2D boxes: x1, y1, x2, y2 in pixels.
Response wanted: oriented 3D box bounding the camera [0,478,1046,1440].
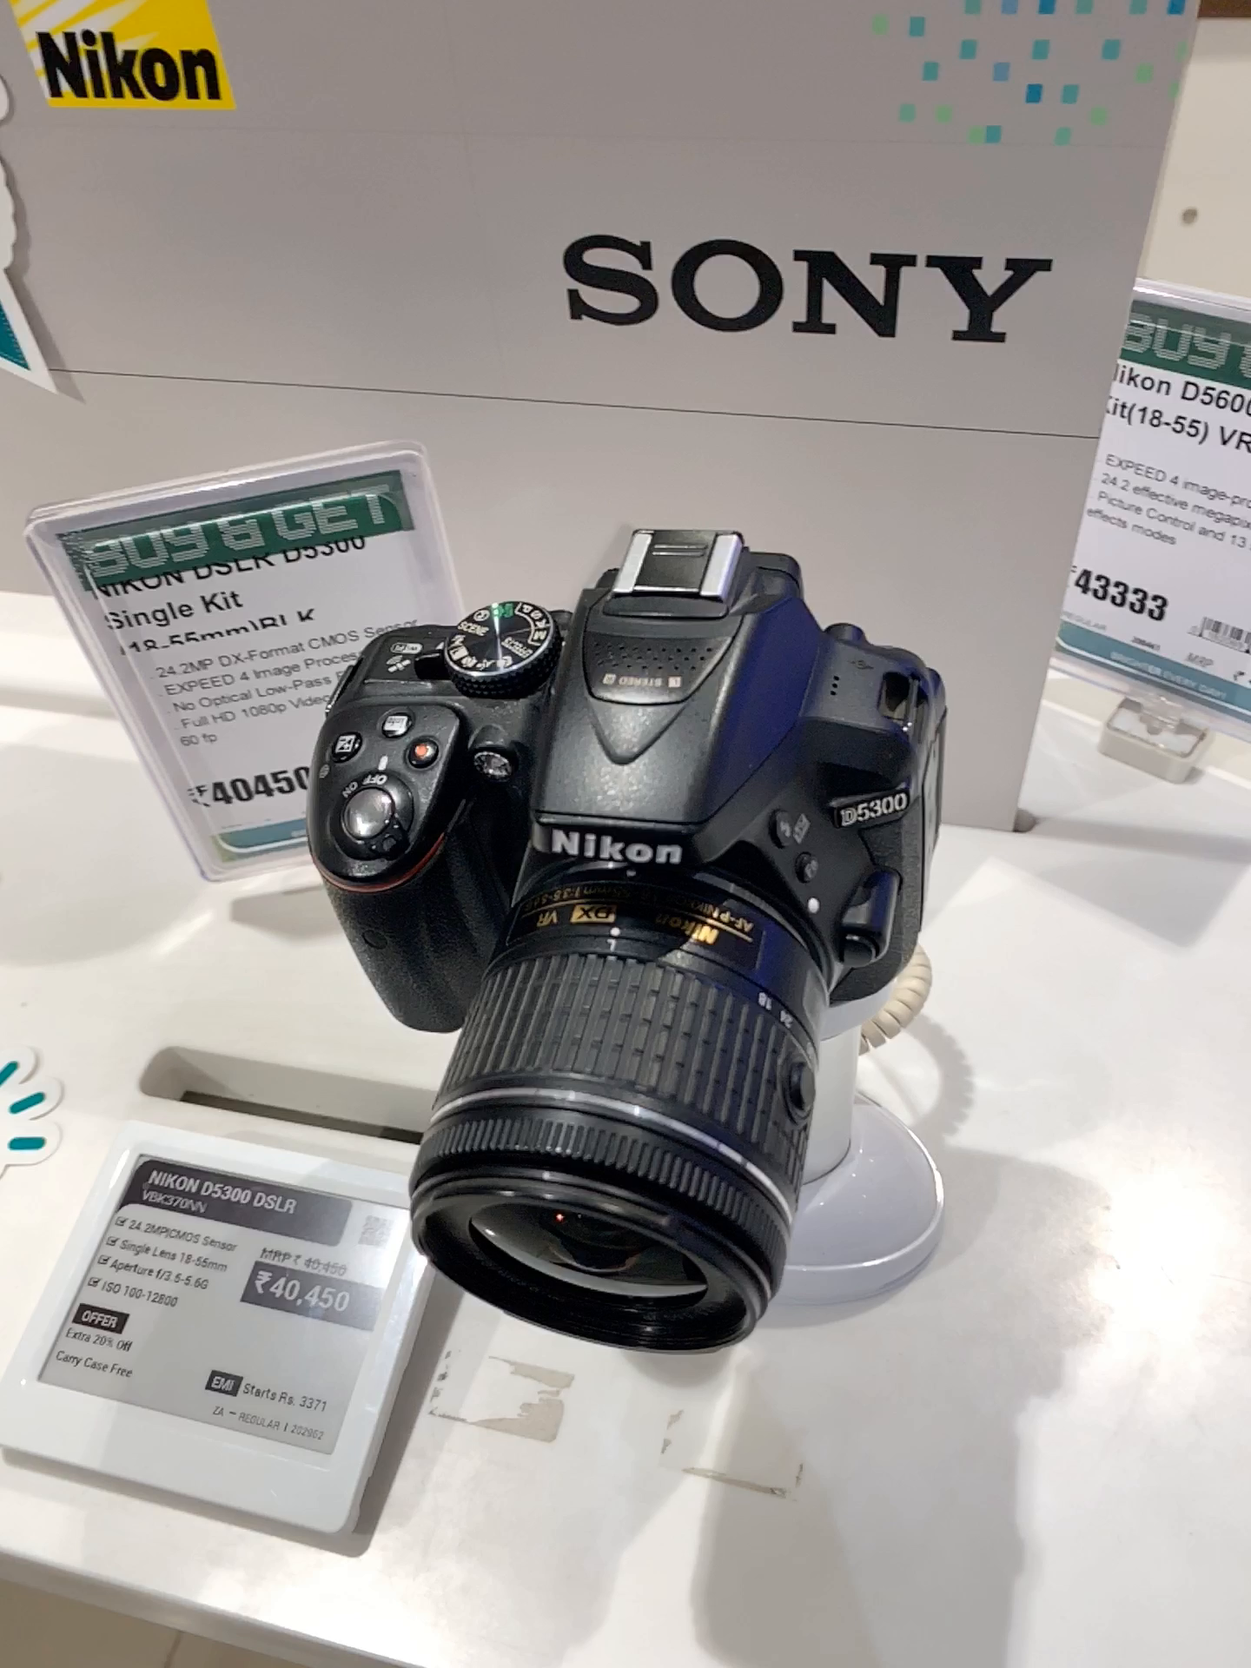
[{"bbox_3d":[-0.007,0.009,0.213,0.130,0.070,0.130,5,47,10],"label":"camera"}]
